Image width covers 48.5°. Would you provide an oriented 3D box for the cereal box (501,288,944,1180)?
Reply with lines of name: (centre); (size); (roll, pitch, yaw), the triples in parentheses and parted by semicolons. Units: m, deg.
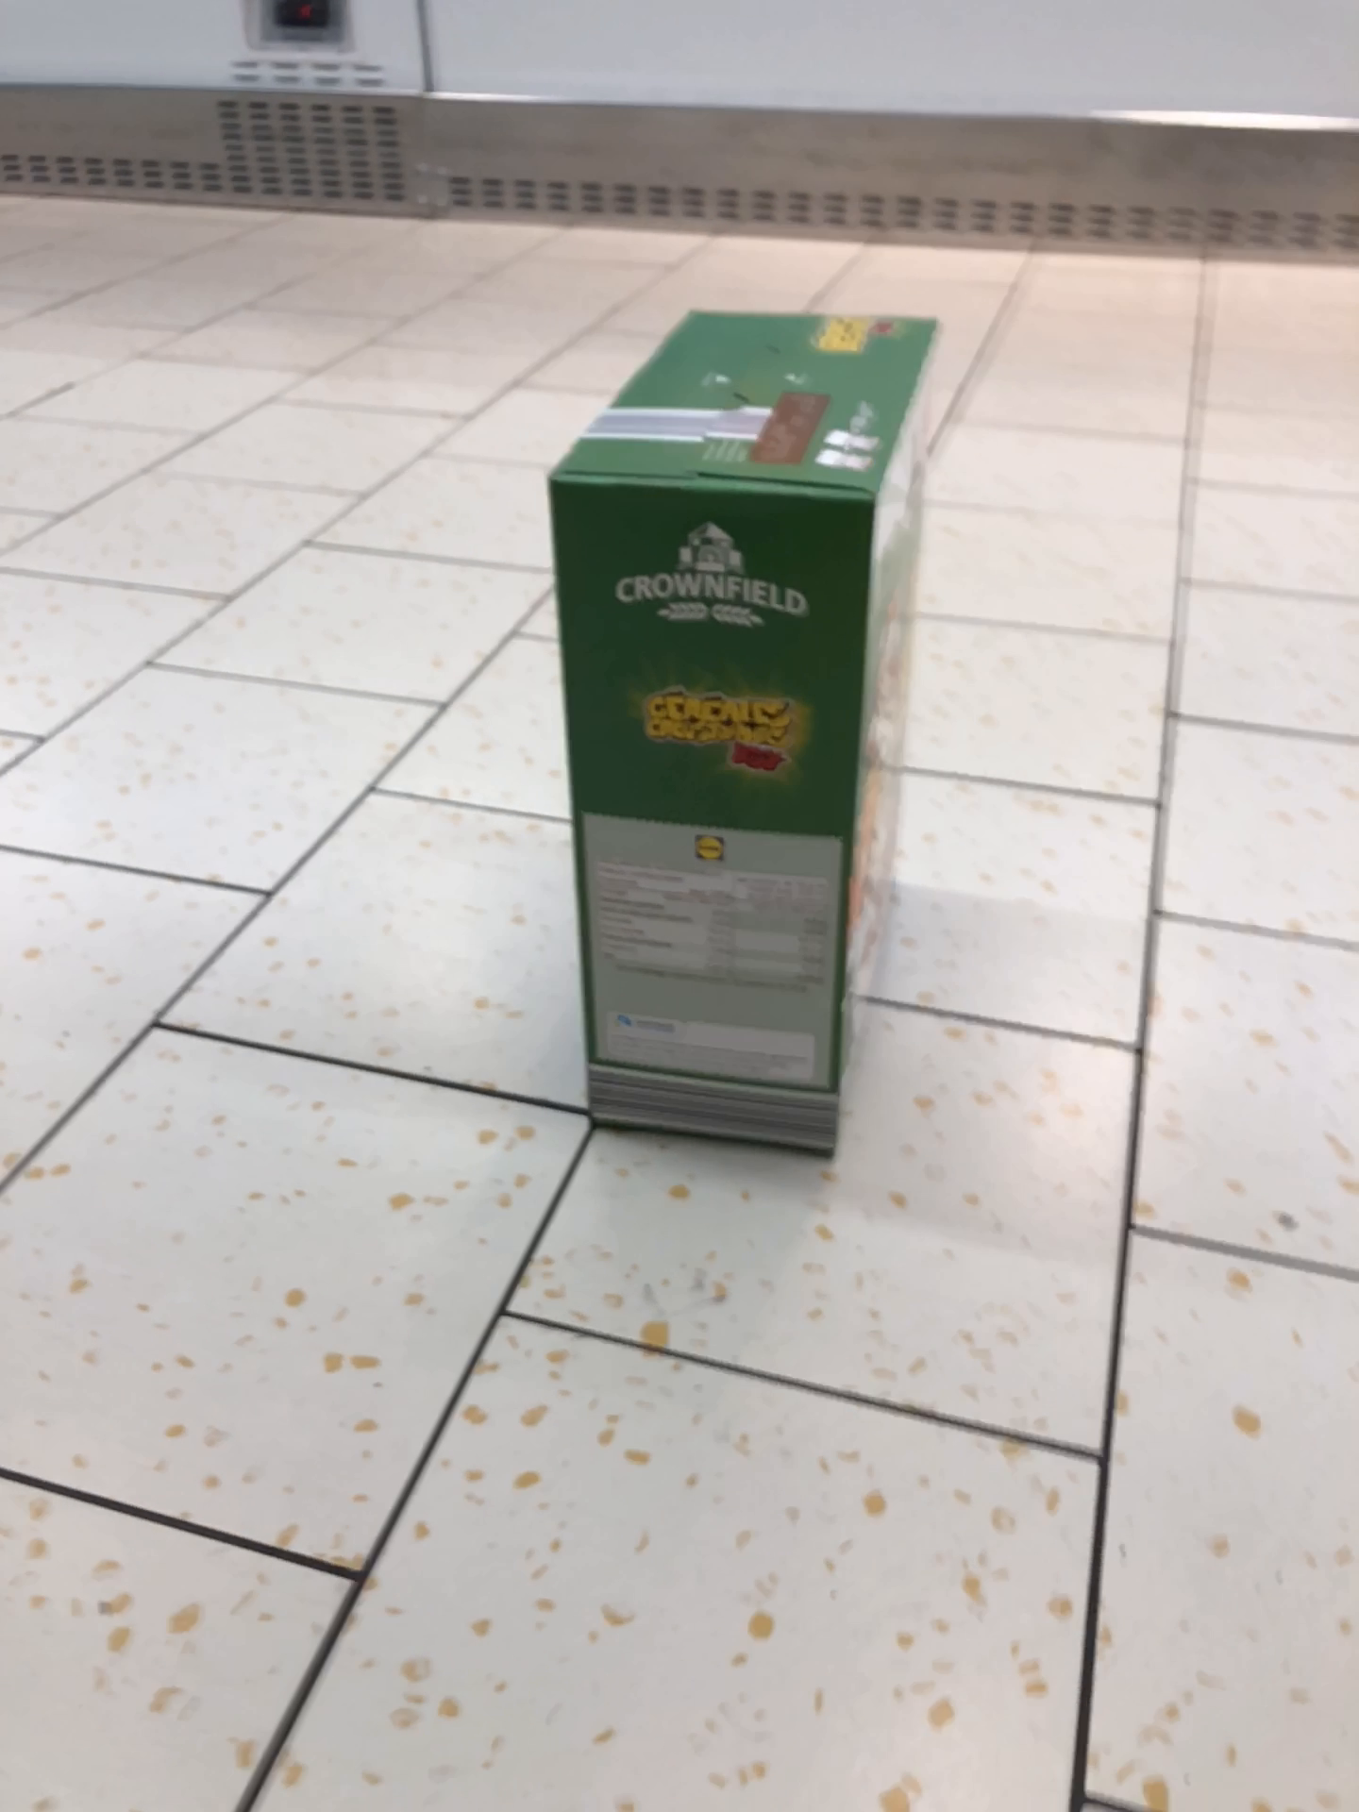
cereal box: (0.027, -0.072, 0.570); (0.110, 0.258, 0.211); (6, 35, 10)
